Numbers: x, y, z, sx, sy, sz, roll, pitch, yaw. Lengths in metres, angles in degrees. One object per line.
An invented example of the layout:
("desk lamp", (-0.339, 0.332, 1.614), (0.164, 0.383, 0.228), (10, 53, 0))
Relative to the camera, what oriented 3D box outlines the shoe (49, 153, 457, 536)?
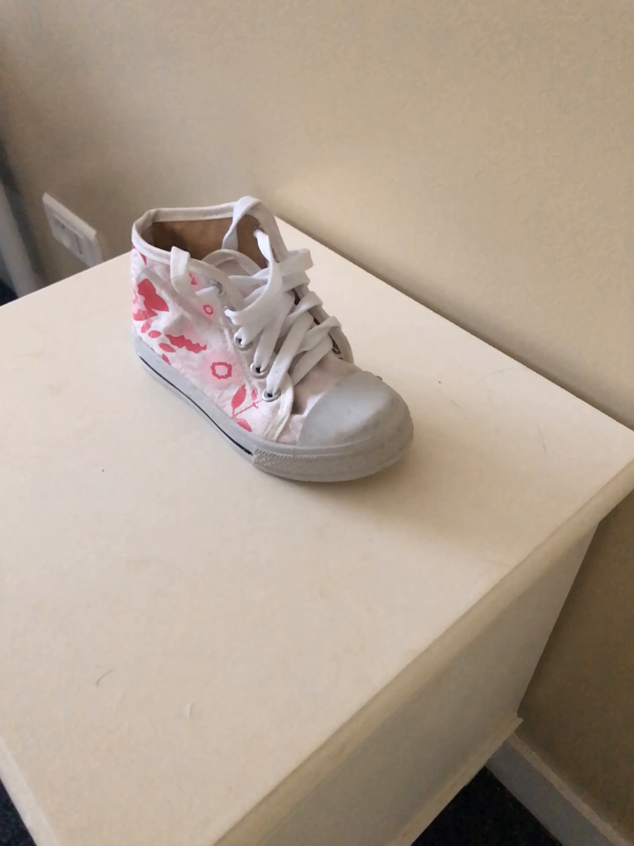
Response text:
("shoe", (-0.036, -0.049, 0.357), (0.190, 0.099, 0.080), (33, 54, 30))
